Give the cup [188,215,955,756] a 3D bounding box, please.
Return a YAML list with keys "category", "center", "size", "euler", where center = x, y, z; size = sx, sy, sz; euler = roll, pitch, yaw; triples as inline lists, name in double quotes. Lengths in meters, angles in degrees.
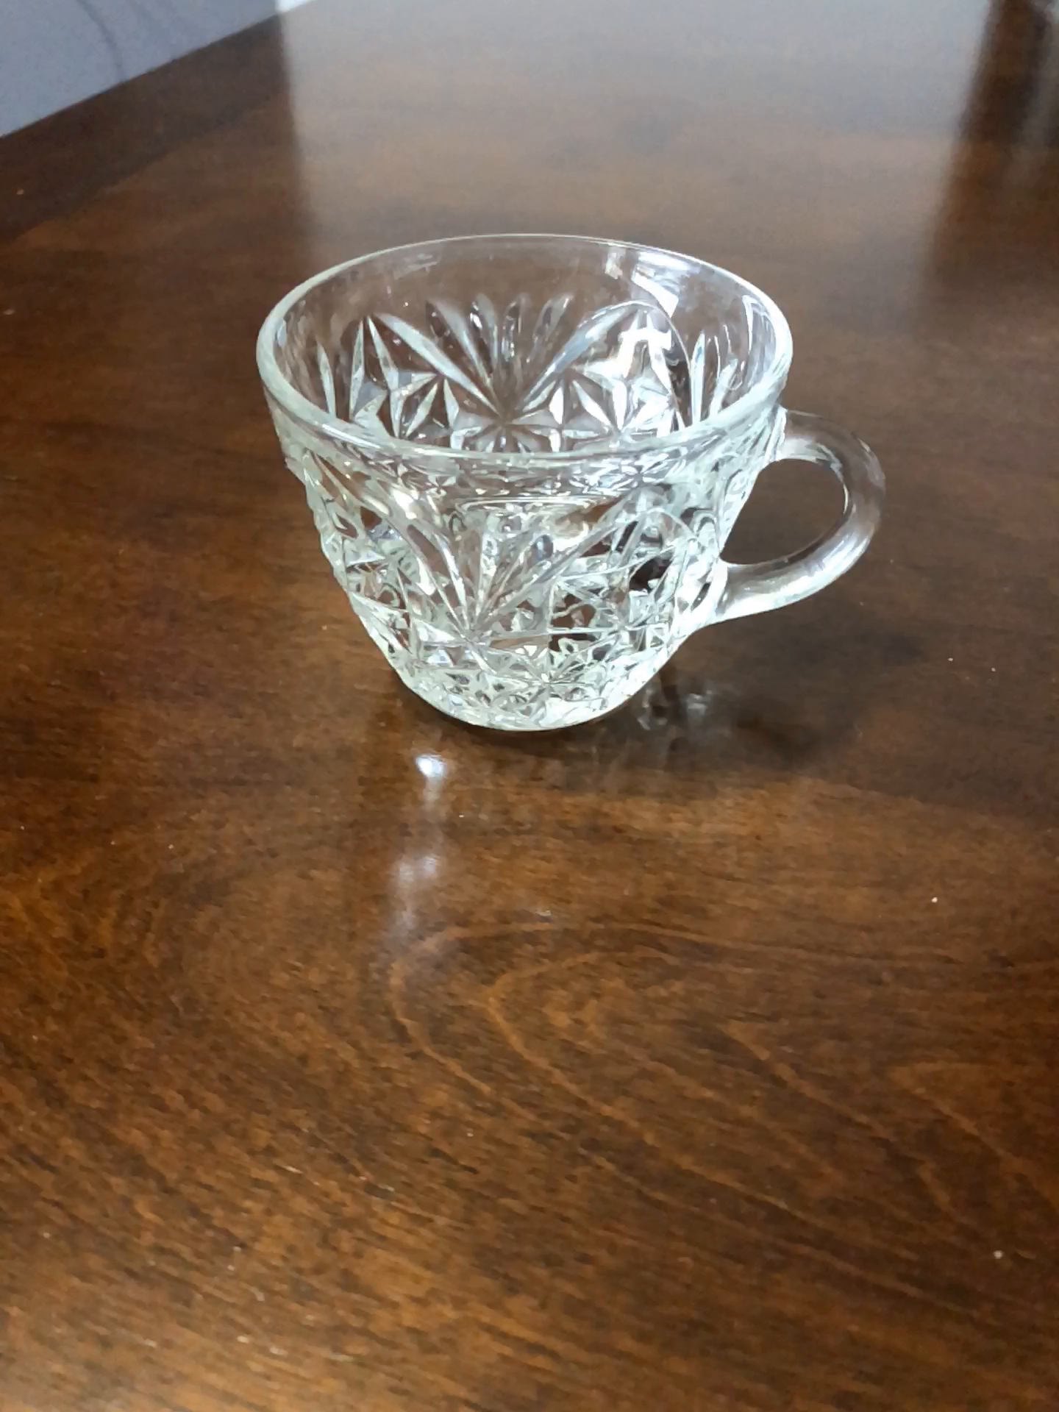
- category: "cup"
  center: [0.008, -0.040, 0.201]
  size: [0.100, 0.060, 0.070]
  euler: [3, 40, 5]
